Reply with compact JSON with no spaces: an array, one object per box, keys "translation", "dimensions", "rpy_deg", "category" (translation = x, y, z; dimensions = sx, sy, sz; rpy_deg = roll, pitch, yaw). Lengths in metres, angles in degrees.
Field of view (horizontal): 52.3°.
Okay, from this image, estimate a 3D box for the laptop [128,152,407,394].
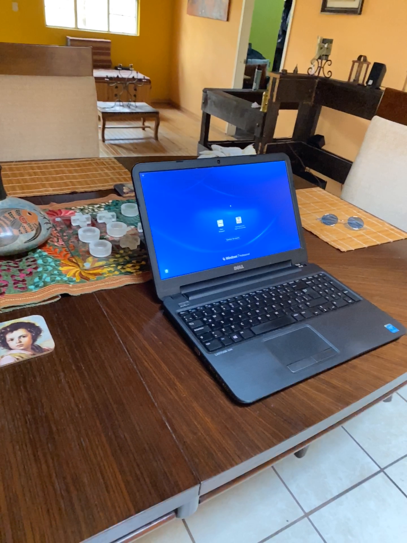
[{"translation":[0.117,-0.049,0.749],"dimensions":[0.368,0.194,0.396],"rpy_deg":[-13,37,-30],"category":"laptop"}]
